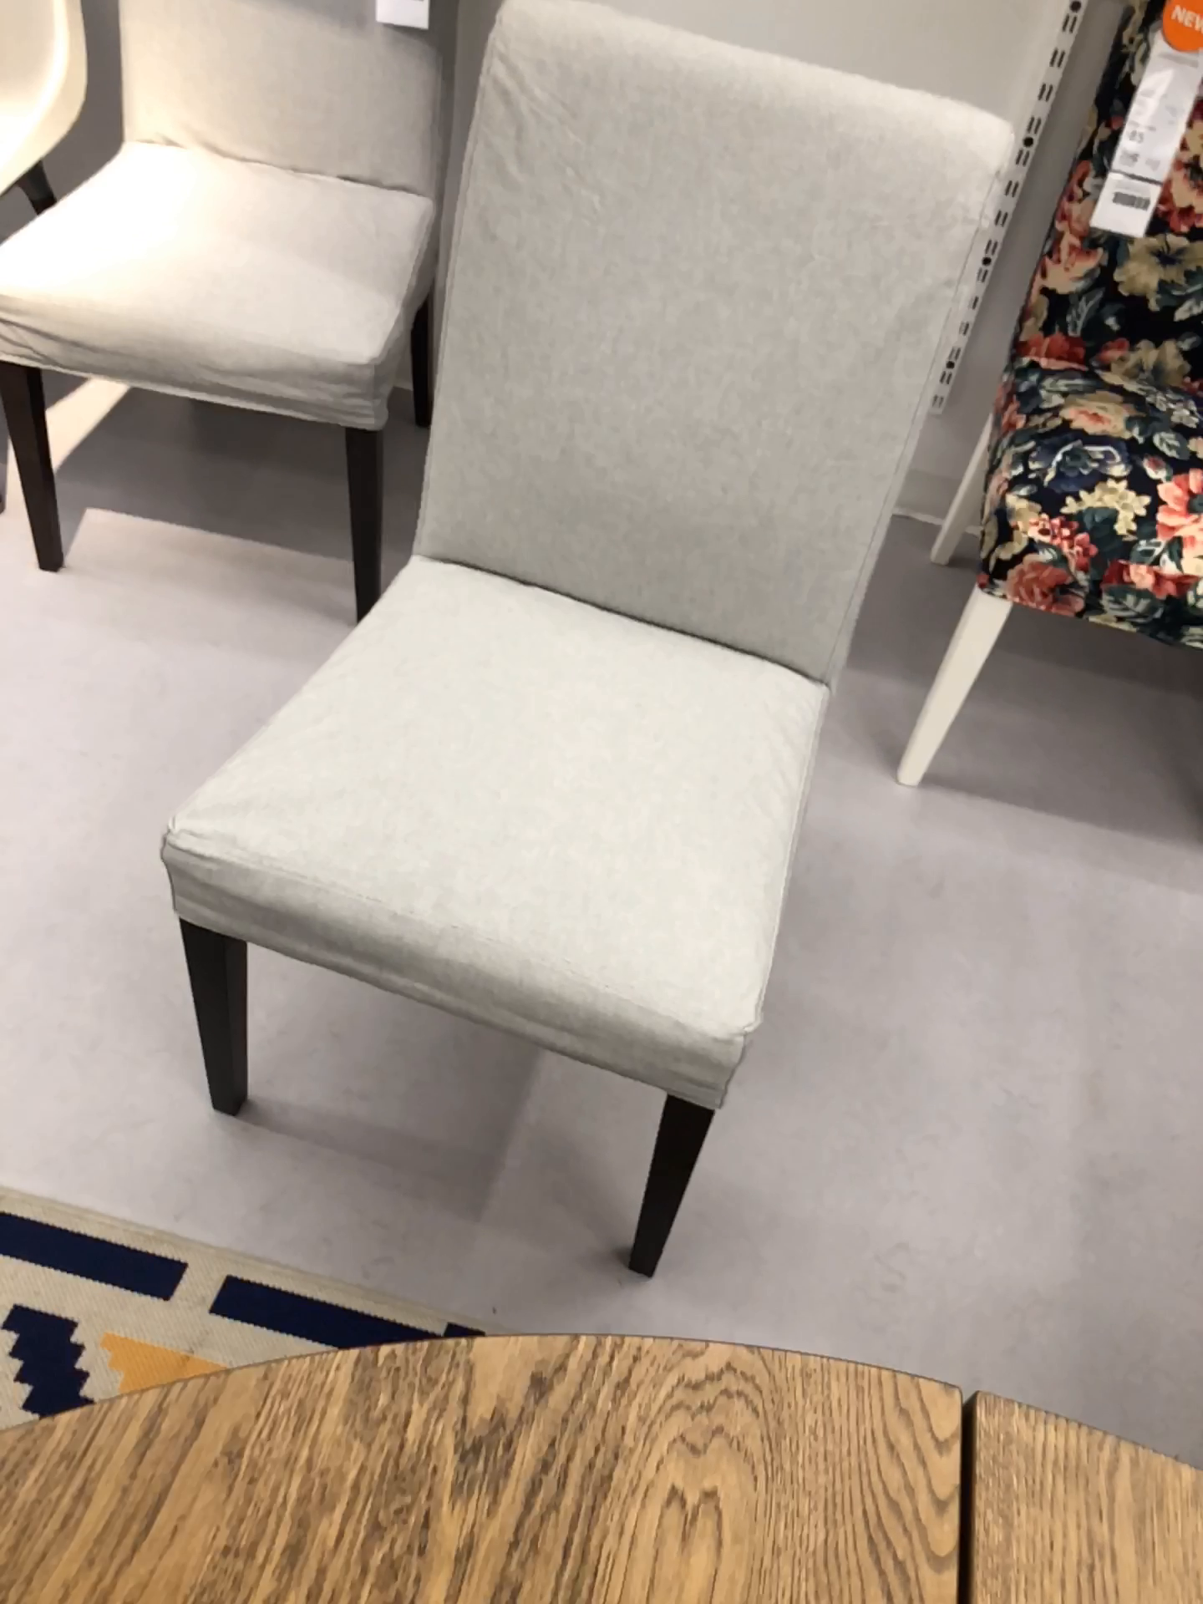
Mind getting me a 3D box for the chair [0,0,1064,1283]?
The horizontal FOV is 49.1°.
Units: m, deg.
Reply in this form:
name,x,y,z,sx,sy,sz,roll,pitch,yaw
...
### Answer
name,x,y,z,sx,sy,sz,roll,pitch,yaw
chair,-0.059,-0.149,1.138,0.560,0.855,0.644,18,48,6
